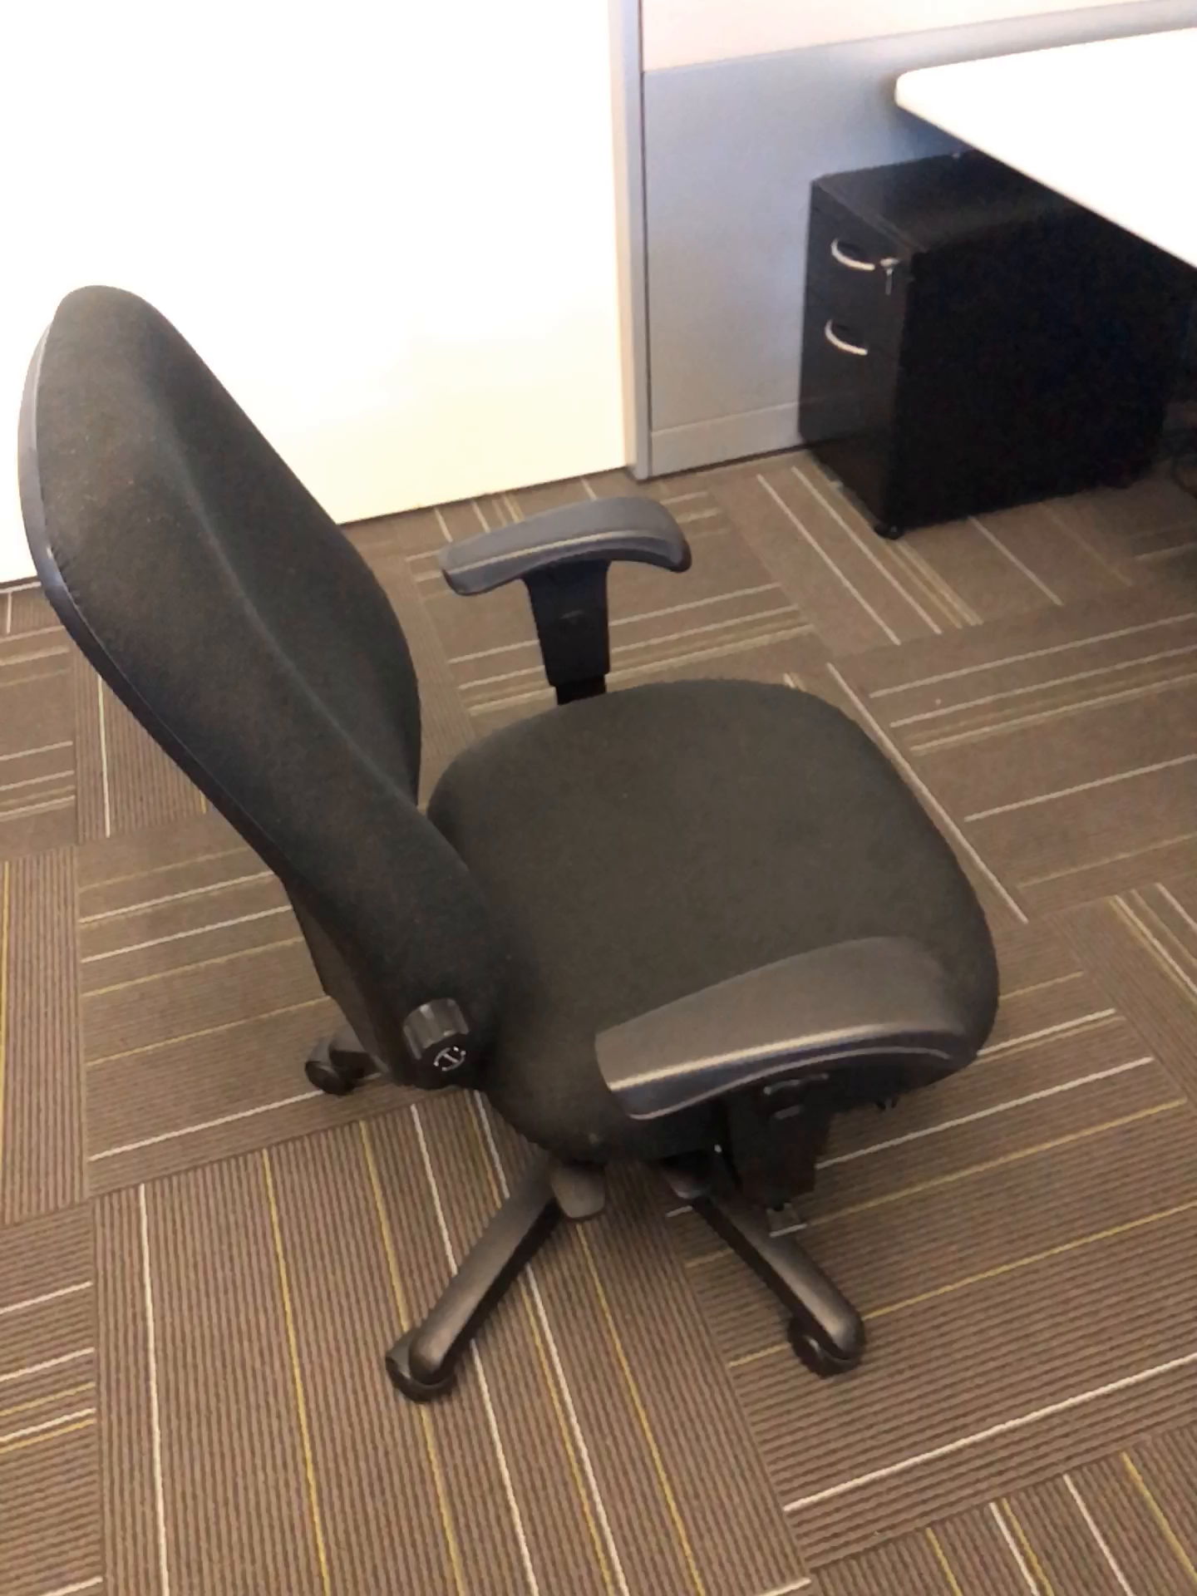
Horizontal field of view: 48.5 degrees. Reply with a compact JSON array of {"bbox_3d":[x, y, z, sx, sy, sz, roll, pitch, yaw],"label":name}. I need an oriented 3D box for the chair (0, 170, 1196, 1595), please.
[{"bbox_3d":[-0.037,0.080,1.231,0.680,0.955,0.744,-14,42,-11],"label":"chair"}]
